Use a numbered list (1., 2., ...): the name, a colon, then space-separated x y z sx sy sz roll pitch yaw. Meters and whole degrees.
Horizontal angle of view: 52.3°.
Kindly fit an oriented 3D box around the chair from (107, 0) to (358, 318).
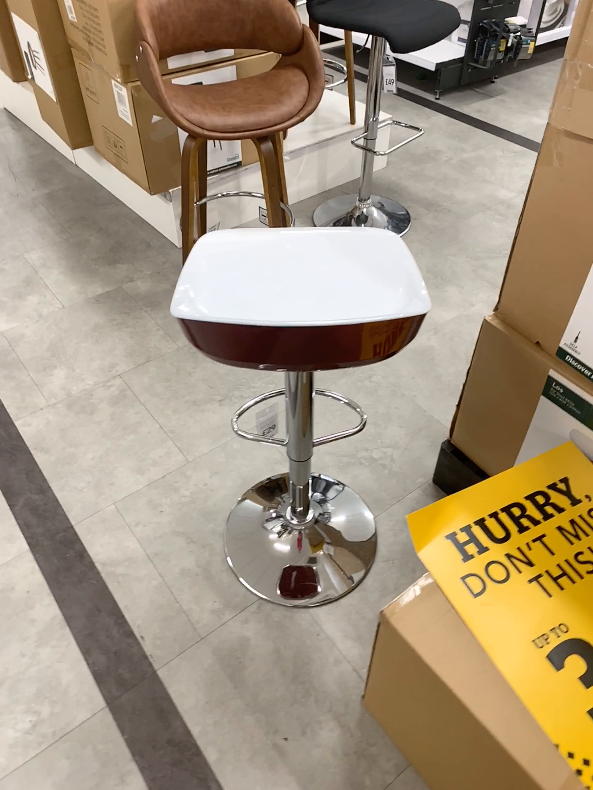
1. chair: -0.213 -0.852 2.109 0.644 0.926 0.527 -12 45 -12

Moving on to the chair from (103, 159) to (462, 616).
1. chair: -0.021 0.028 1.188 0.443 0.797 0.456 -1 44 -1
